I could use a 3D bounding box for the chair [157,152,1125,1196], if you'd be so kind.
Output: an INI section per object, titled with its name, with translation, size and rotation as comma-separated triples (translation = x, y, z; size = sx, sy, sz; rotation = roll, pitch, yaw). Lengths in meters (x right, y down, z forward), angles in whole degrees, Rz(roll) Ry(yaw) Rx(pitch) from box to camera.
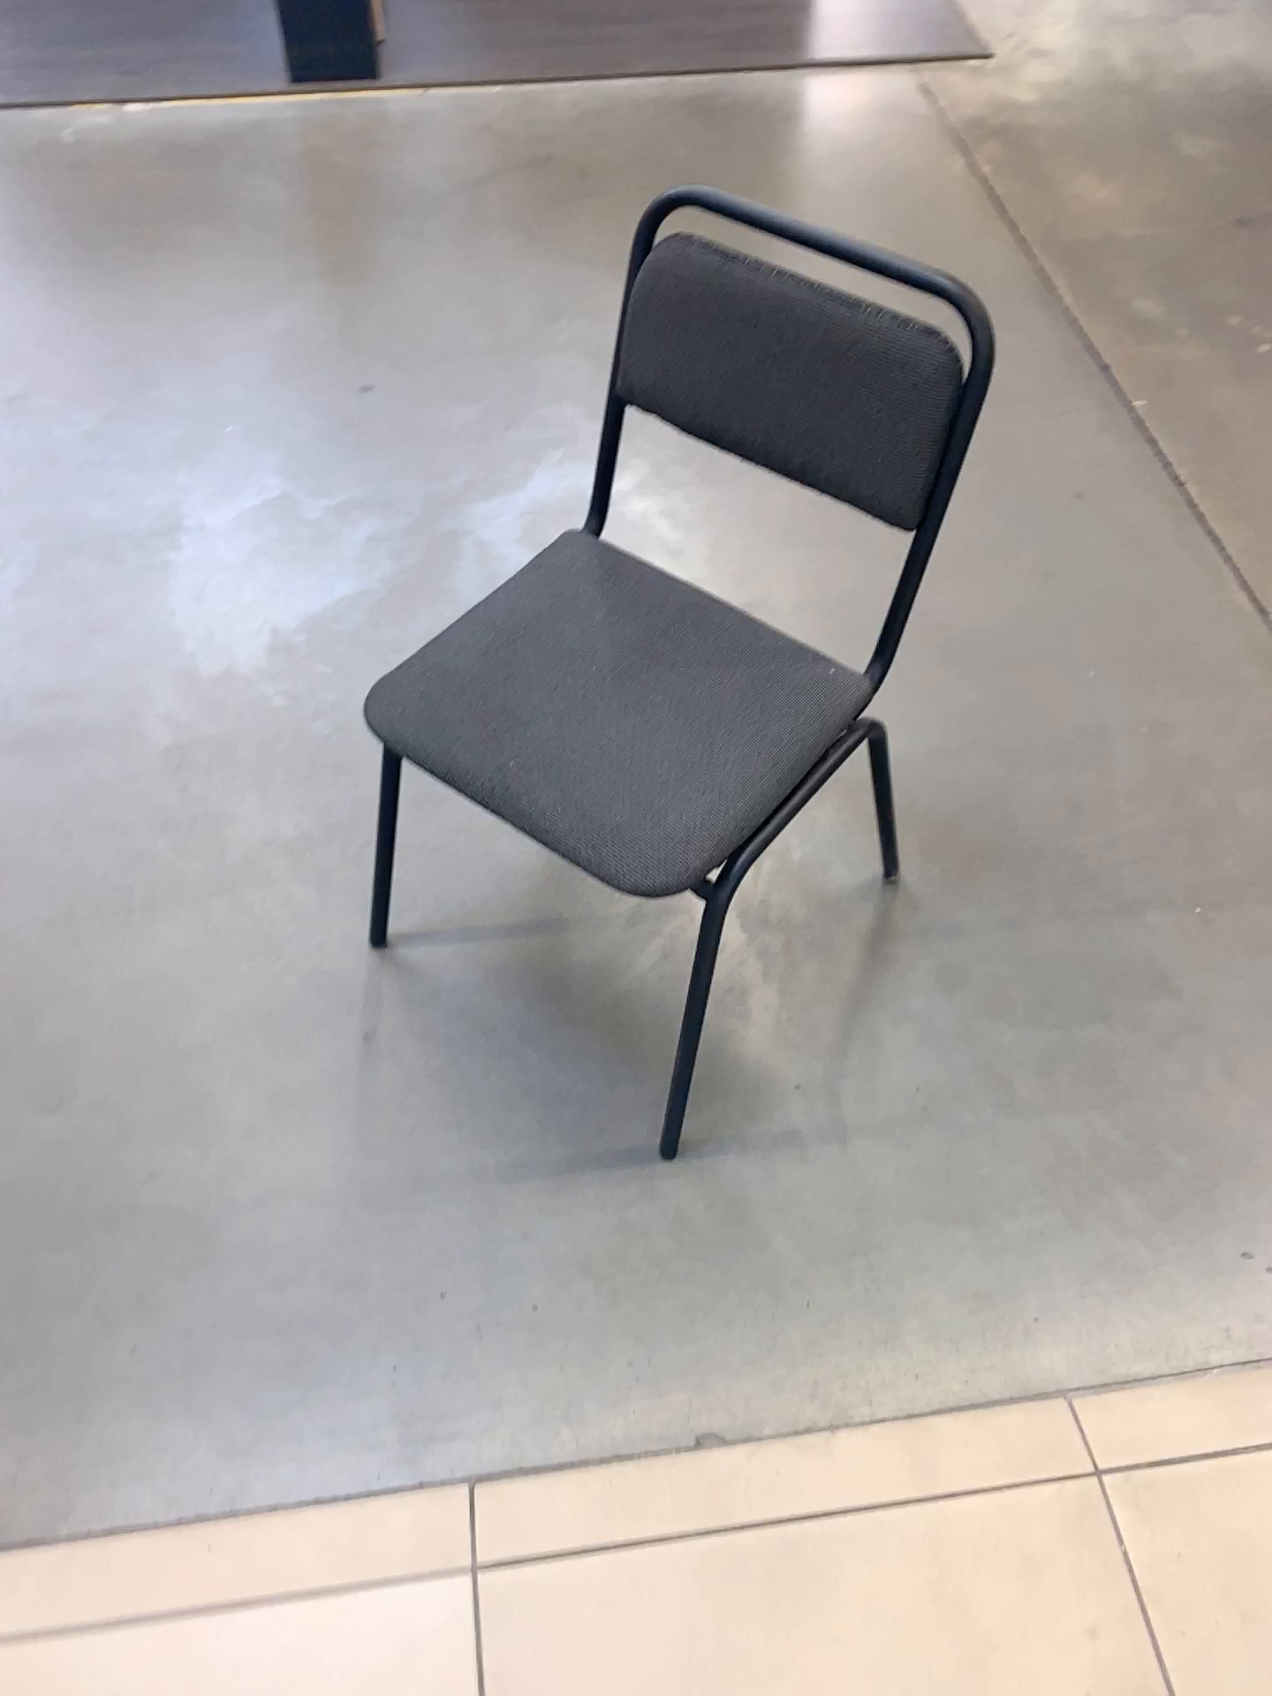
[chair]
translation = 0.019, -0.176, 1.389
size = 0.551, 0.737, 0.631
rotation = 33, 58, 23
